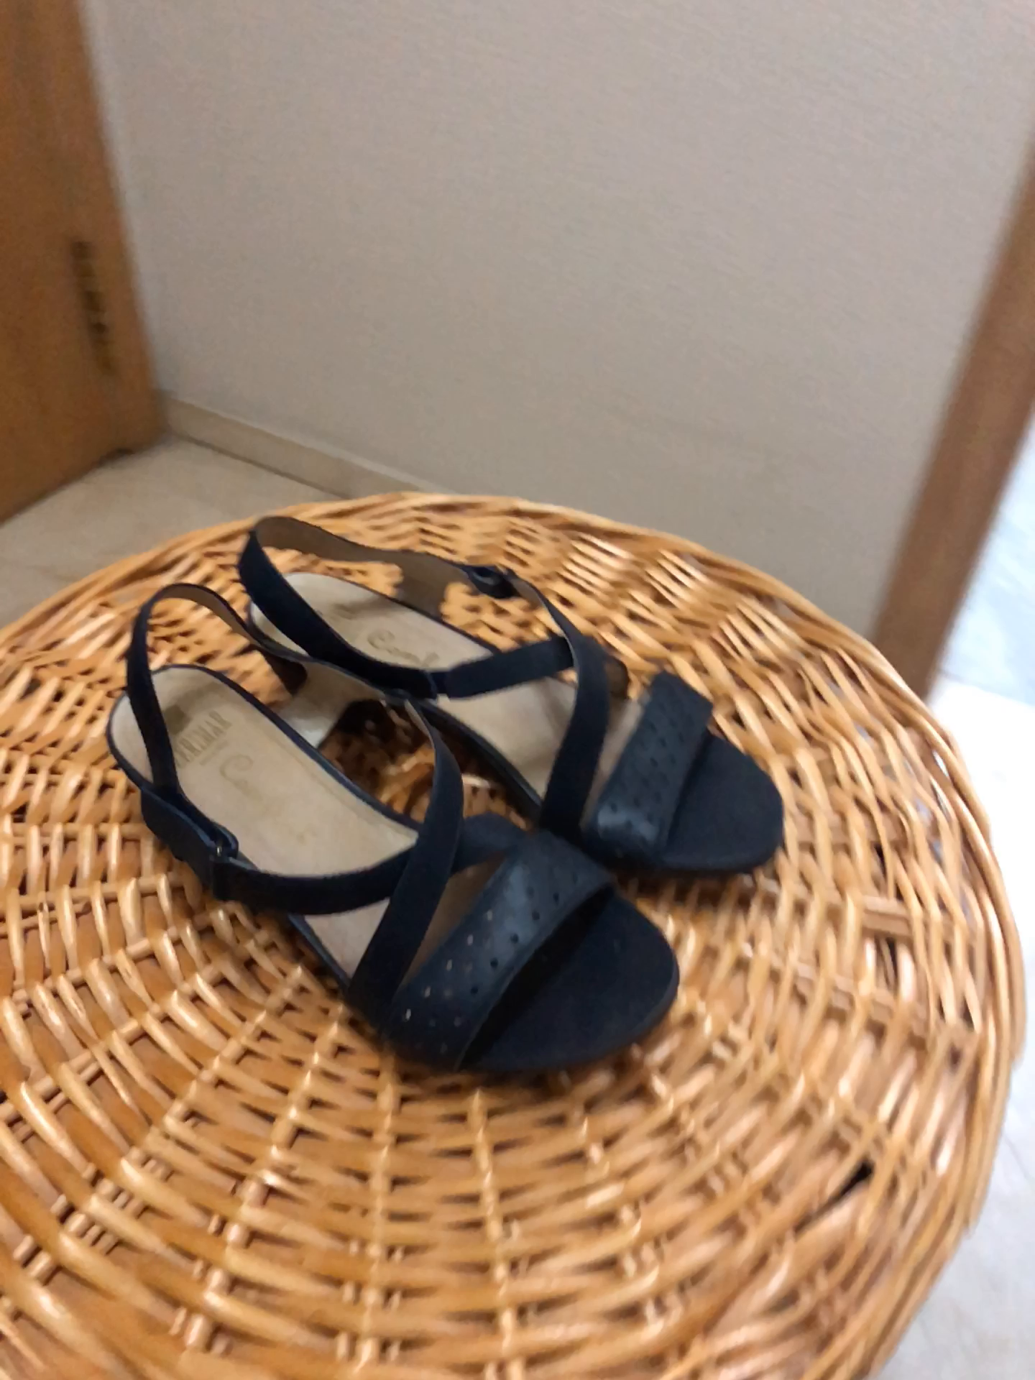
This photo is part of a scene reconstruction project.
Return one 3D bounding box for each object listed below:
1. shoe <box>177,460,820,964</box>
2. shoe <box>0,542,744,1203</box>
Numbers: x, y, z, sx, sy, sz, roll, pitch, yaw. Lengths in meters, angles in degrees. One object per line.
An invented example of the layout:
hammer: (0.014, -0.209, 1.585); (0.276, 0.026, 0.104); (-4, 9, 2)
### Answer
shoe: (-0.013, 0.005, 0.494); (0.248, 0.088, 0.090); (24, 46, 10)
shoe: (-0.057, 0.067, 0.436); (0.247, 0.092, 0.100); (34, 59, 10)
